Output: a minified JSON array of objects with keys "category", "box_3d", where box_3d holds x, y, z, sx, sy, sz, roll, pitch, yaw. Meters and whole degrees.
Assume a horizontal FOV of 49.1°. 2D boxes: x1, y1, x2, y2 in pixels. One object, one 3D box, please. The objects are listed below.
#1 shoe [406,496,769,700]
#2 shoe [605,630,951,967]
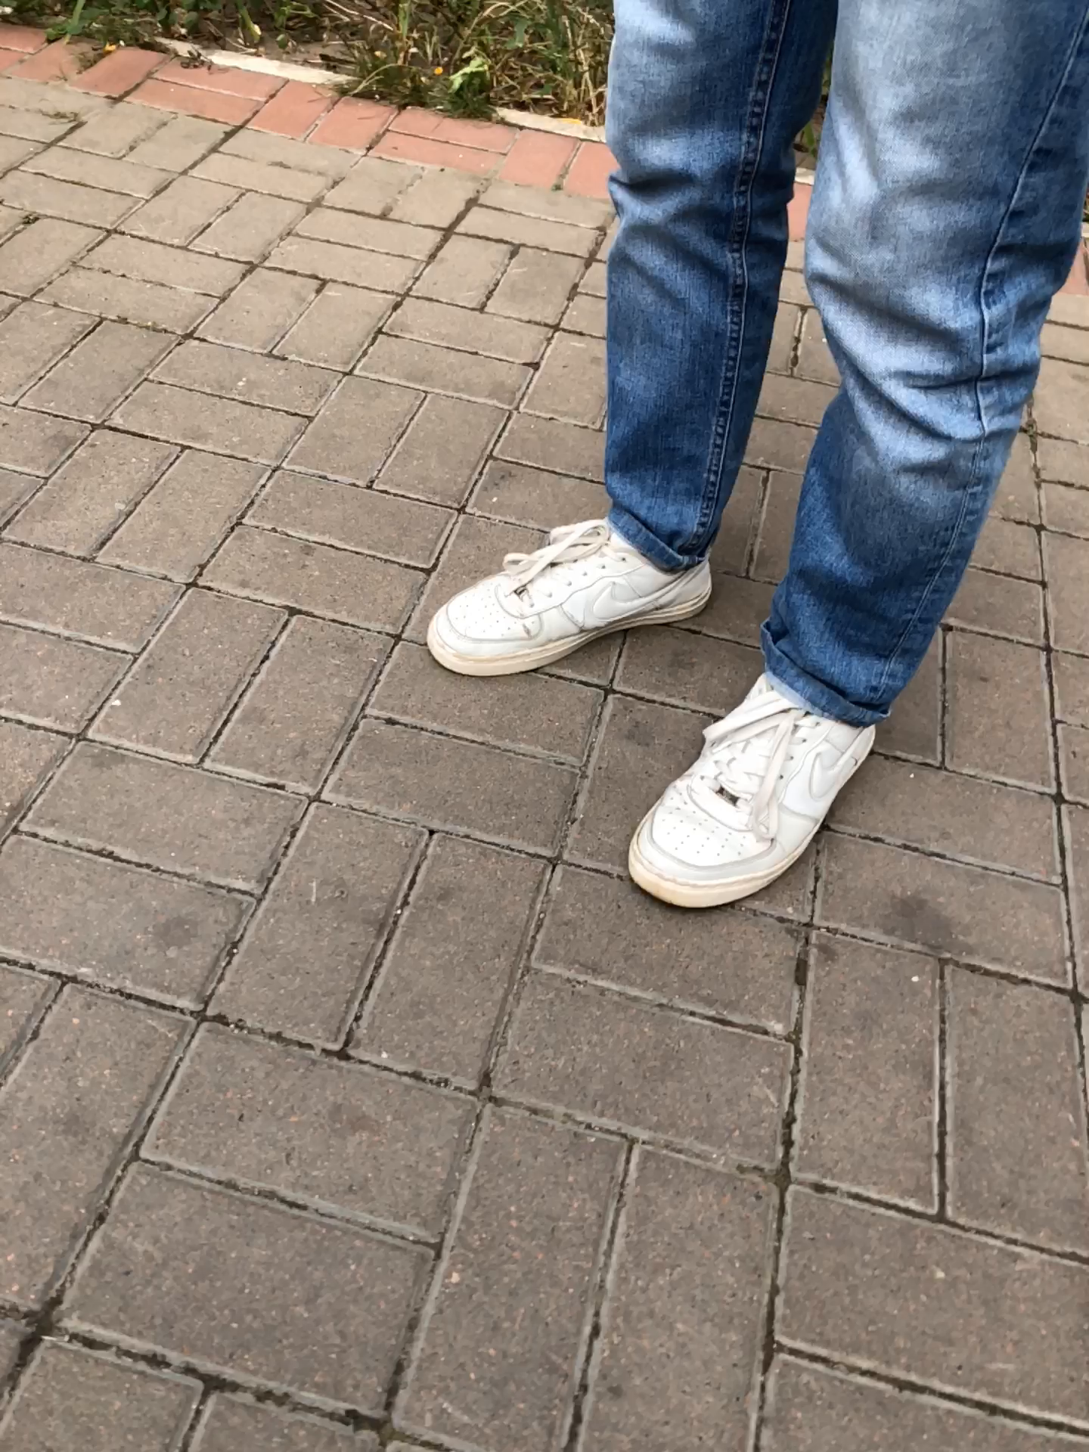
[{"category":"shoe","box_3d":[0.037,-0.121,1.080,0.300,0.070,0.121,-14,49,-18]},{"category":"shoe","box_3d":[0.189,0.045,0.940,0.110,0.070,0.301,35,52,25]}]
